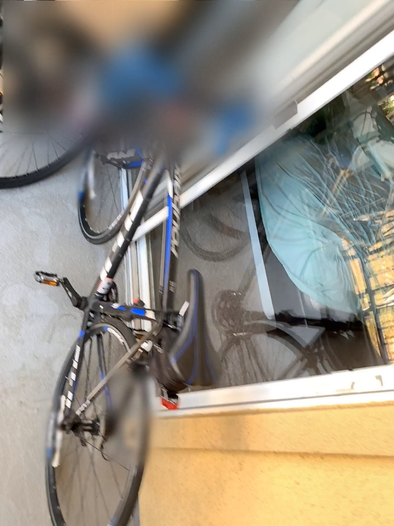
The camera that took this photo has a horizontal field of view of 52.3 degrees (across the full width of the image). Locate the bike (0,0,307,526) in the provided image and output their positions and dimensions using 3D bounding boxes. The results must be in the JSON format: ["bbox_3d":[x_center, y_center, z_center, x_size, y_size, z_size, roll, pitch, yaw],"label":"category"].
[{"bbox_3d":[-0.198,0.020,1.216,0.363,0.935,1.503,14,67,-34],"label":"bike"}]

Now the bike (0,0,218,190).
[{"bbox_3d":[-0.880,-0.748,0.983,1.586,0.974,0.622,-2,73,-41],"label":"bike"}]
